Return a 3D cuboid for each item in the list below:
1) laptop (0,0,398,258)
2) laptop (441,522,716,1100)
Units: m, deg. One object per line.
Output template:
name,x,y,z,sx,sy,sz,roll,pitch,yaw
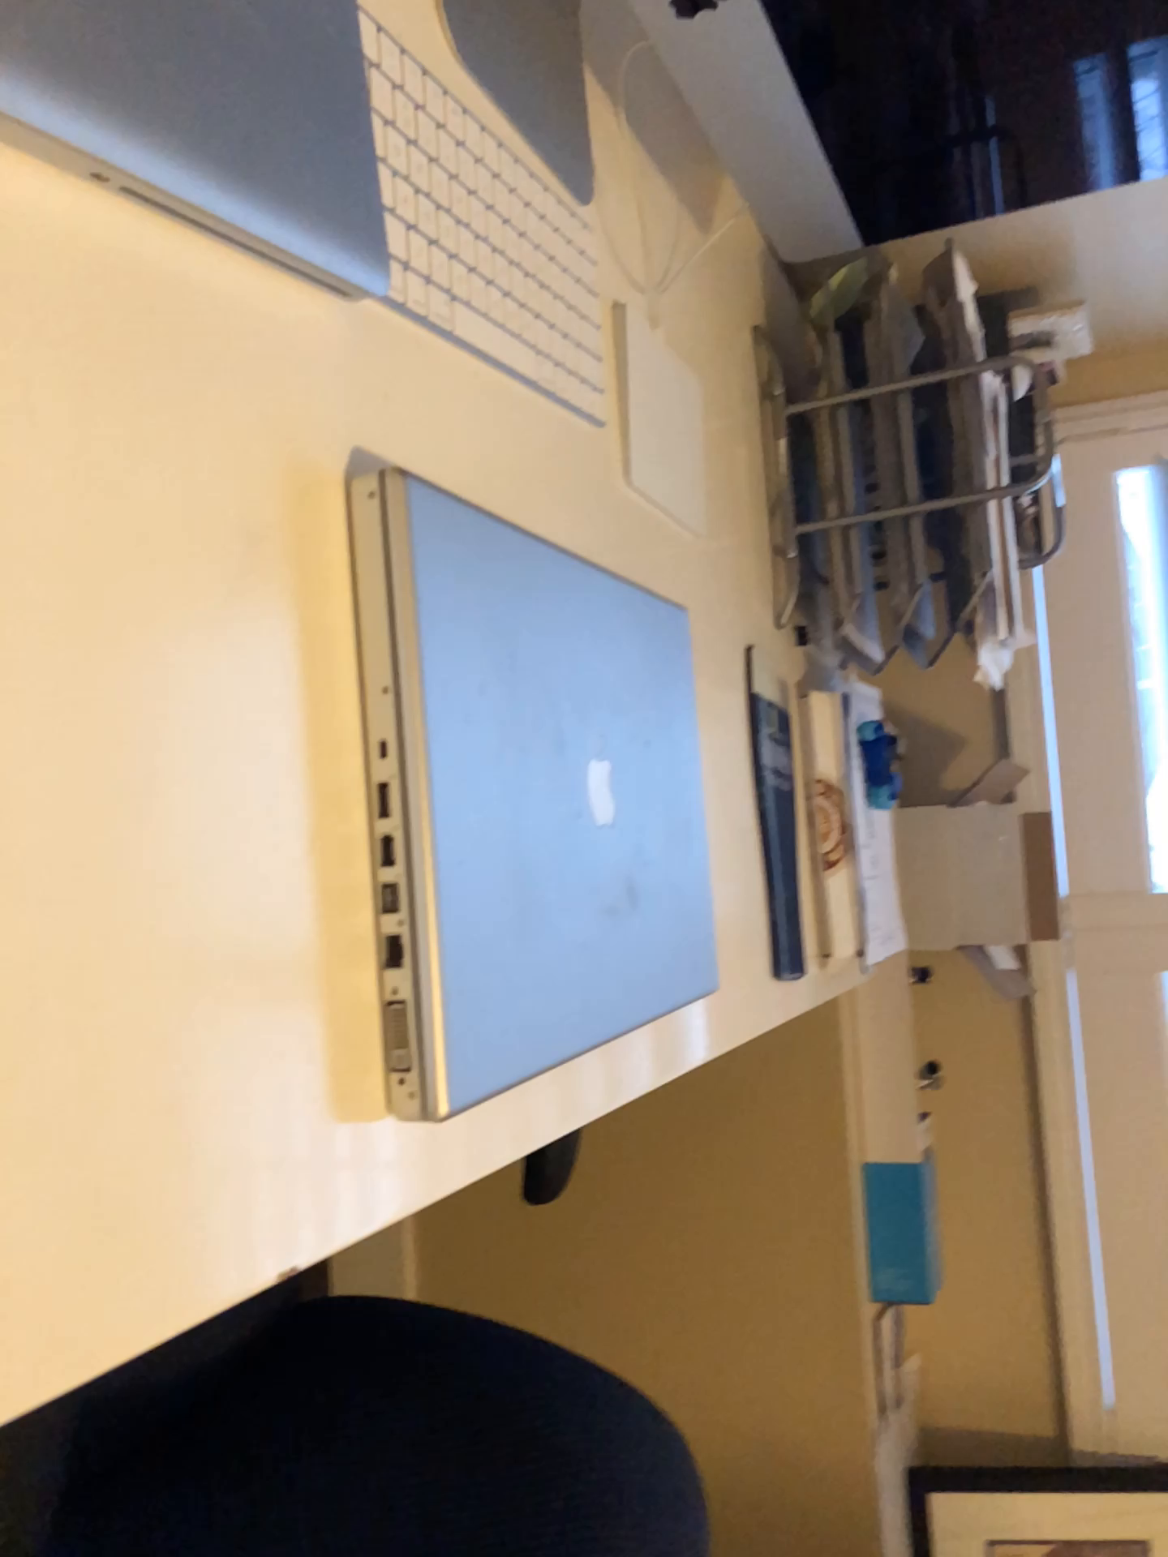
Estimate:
laptop,-0.112,-0.314,0.376,0.201,0.009,0.278,-15,101,-71
laptop,0.013,0.012,0.628,0.334,0.005,0.214,3,84,-69
